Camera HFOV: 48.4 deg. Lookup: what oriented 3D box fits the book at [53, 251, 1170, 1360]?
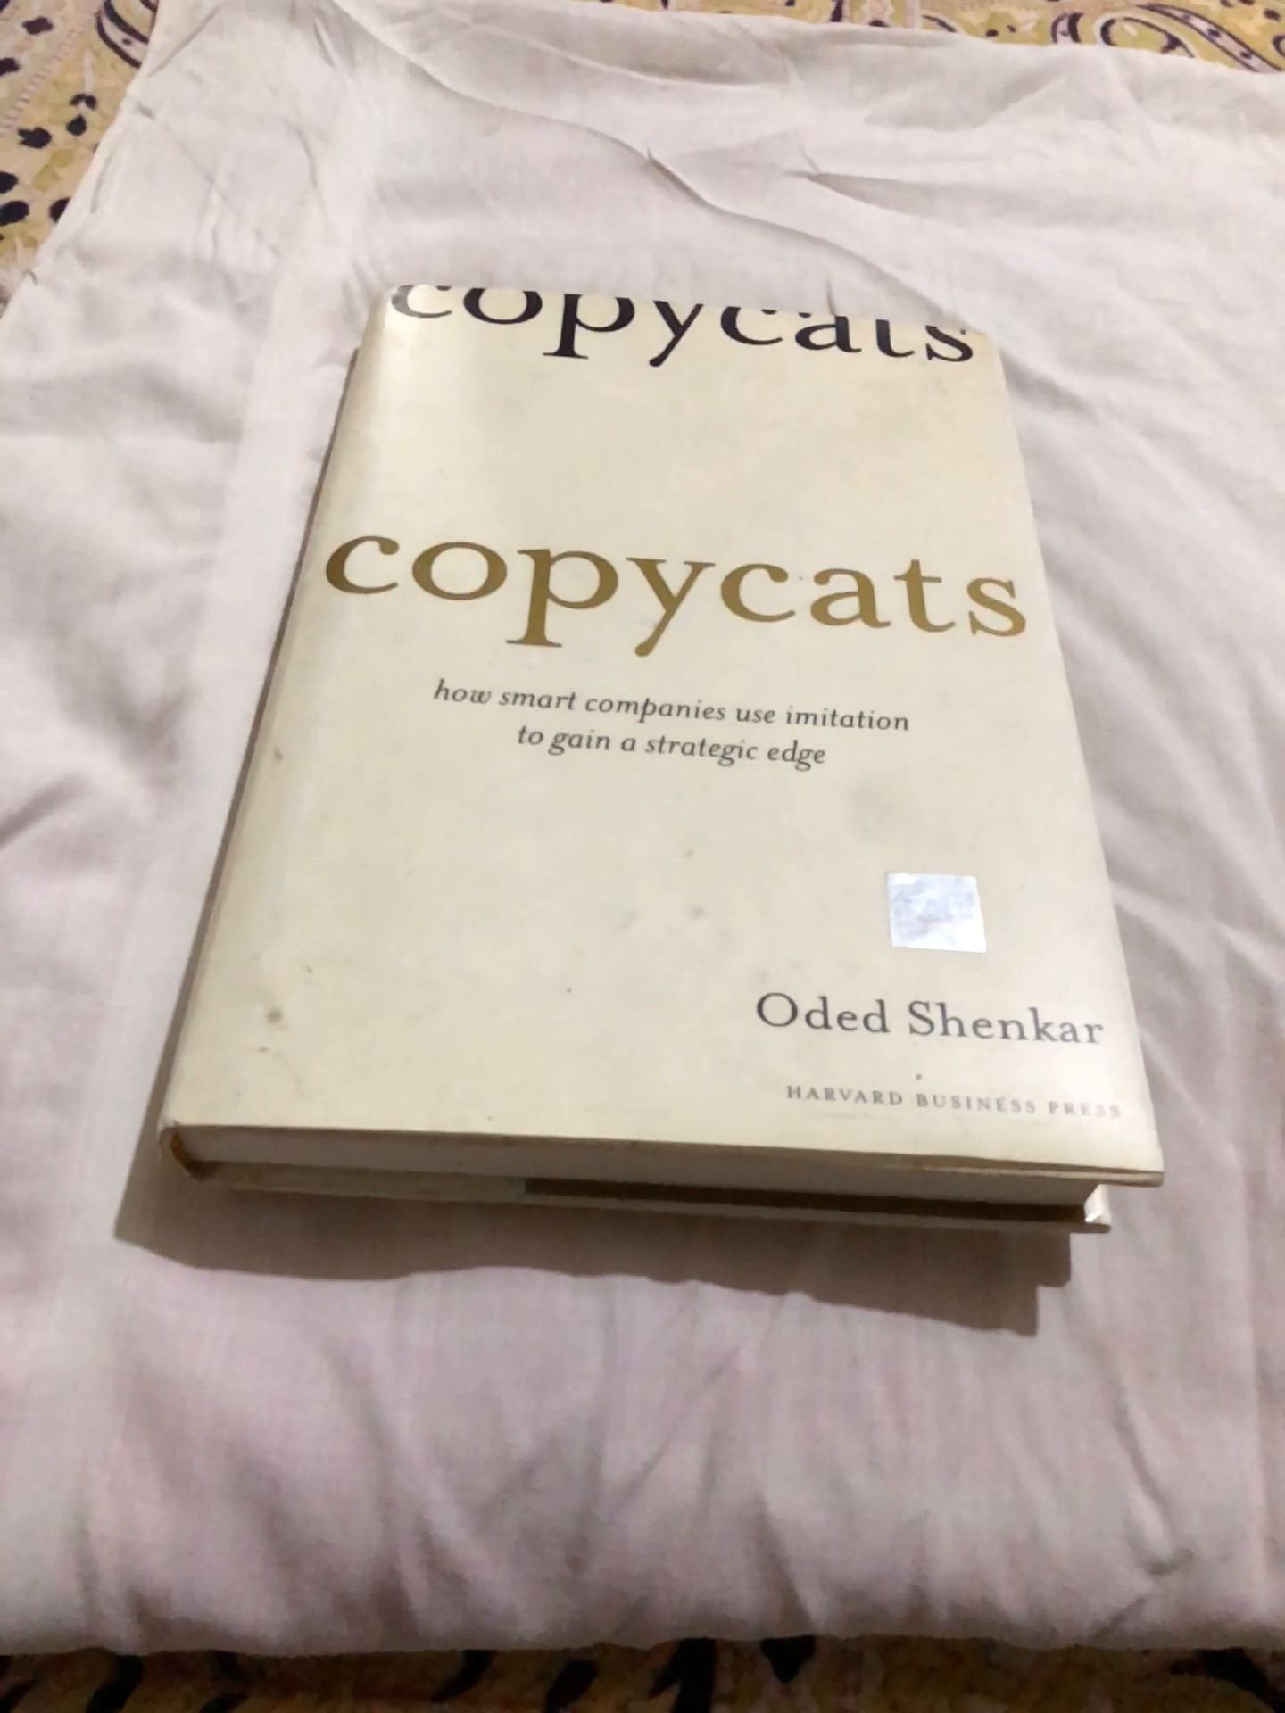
[{"bbox_3d":[0.002,-0.031,0.277,0.150,0.040,0.231,4,53,0],"label":"book"}]
